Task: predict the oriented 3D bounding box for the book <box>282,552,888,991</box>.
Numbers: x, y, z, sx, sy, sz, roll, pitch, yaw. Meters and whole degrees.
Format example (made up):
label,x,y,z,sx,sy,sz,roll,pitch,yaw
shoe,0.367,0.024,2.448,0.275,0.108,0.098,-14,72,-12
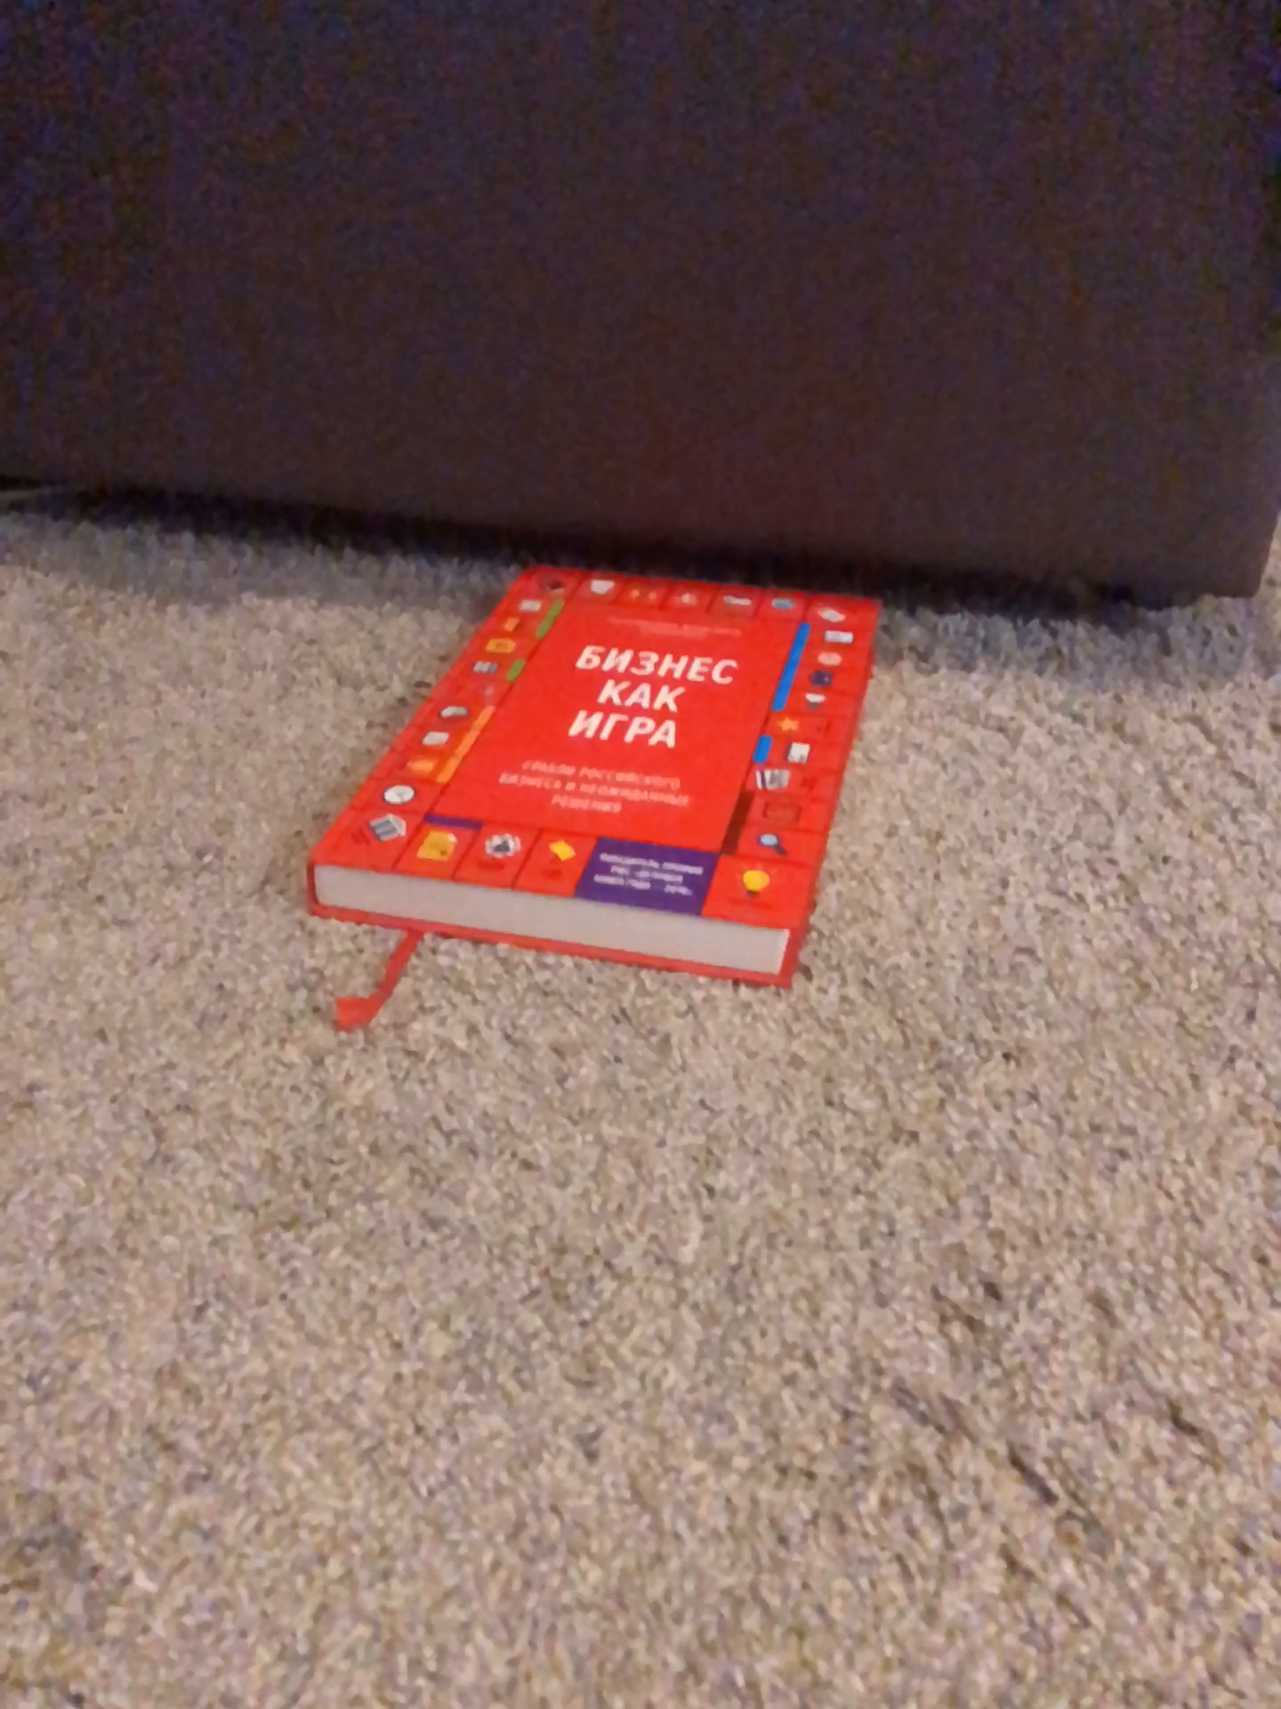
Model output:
label,x,y,z,sx,sy,sz,roll,pitch,yaw
book,-0.004,-0.050,0.562,0.179,0.033,0.248,8,36,11
